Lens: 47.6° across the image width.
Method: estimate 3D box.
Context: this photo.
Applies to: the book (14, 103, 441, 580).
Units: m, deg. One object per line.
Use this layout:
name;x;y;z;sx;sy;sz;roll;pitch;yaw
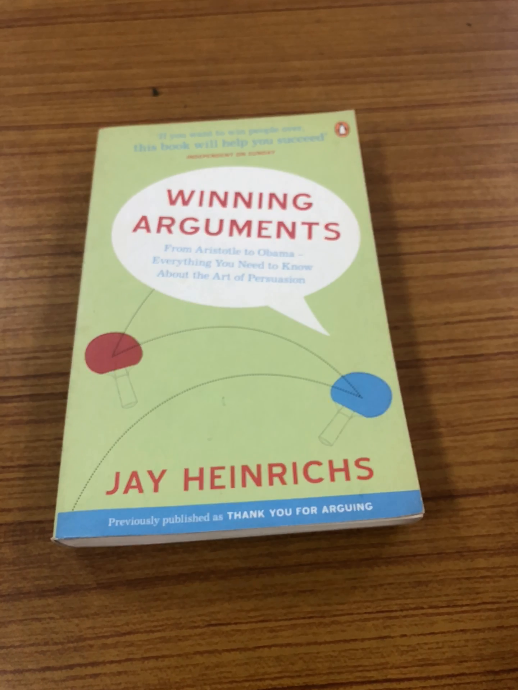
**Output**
book;-0.014;-0.016;0.253;0.140;0.030;0.210;-2;63;0
